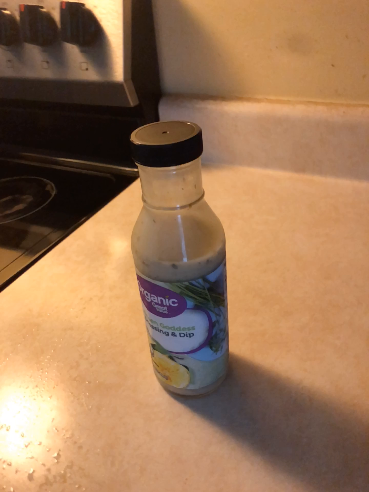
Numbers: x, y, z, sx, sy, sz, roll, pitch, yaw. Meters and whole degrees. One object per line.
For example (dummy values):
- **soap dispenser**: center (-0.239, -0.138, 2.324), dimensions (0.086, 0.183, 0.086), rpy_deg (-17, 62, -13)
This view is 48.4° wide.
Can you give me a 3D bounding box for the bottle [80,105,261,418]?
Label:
- **bottle**: center (0.000, 0.015, 0.276), dimensions (0.070, 0.189, 0.070), rpy_deg (-4, 34, 3)
